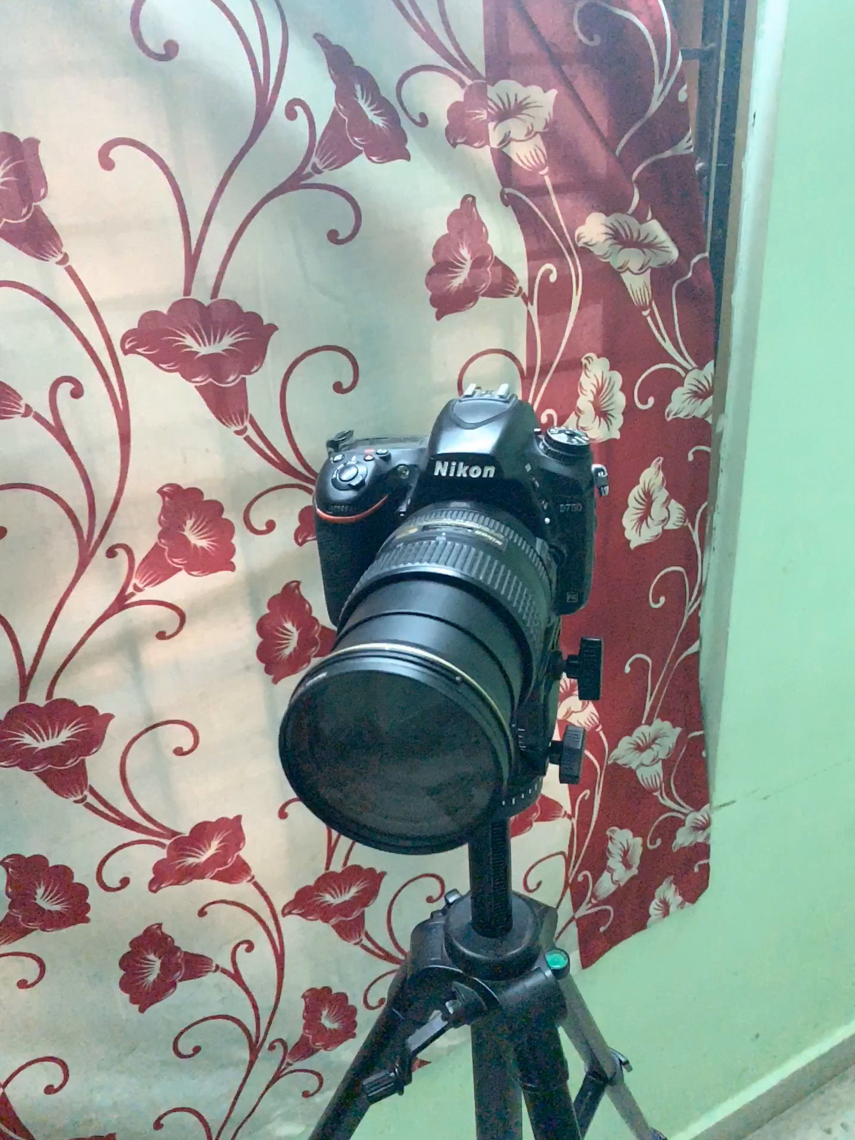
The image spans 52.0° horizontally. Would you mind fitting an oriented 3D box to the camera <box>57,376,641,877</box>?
[{"bbox_3d":[-0.009,0.006,0.351,0.172,0.122,0.171,1,26,11],"label":"camera"}]
